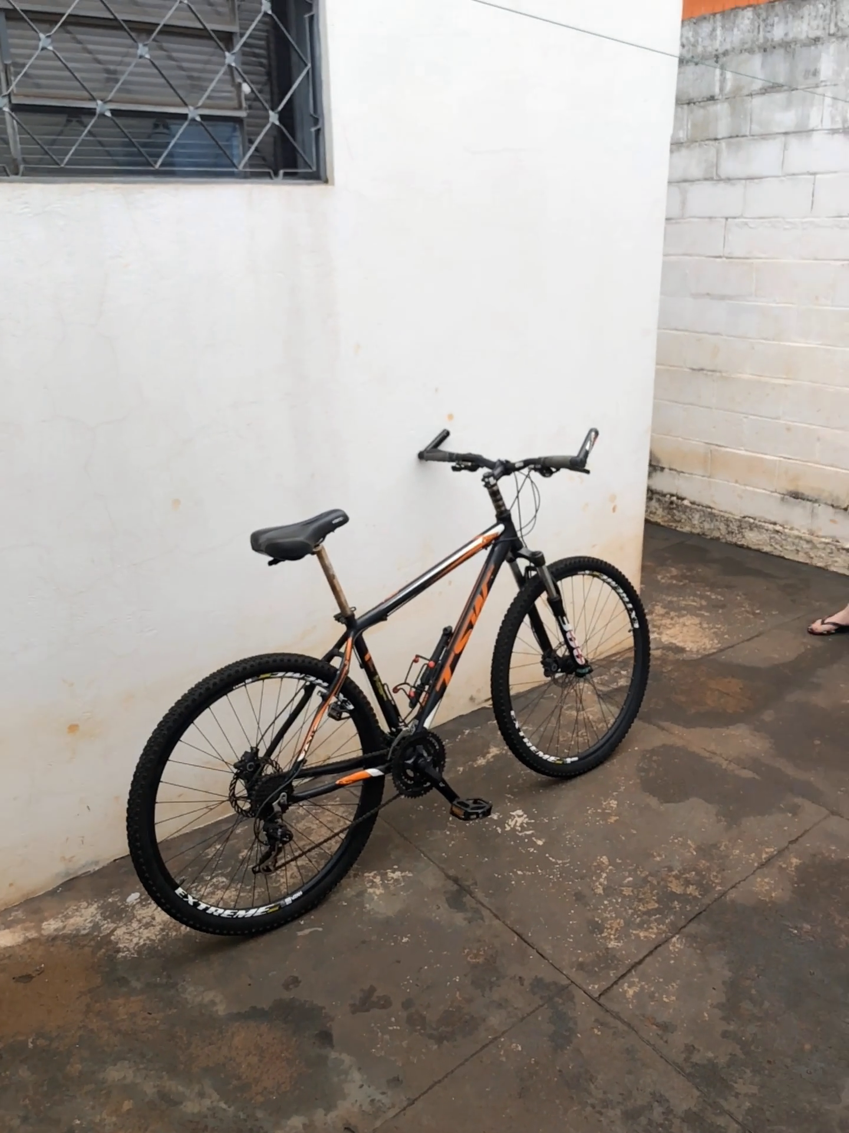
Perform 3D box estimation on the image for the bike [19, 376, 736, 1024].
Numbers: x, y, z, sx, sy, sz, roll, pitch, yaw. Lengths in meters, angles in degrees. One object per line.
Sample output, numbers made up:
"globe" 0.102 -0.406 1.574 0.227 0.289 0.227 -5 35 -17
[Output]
"bike" -0.011 0.162 2.594 1.768 1.086 0.723 -17 25 -36
